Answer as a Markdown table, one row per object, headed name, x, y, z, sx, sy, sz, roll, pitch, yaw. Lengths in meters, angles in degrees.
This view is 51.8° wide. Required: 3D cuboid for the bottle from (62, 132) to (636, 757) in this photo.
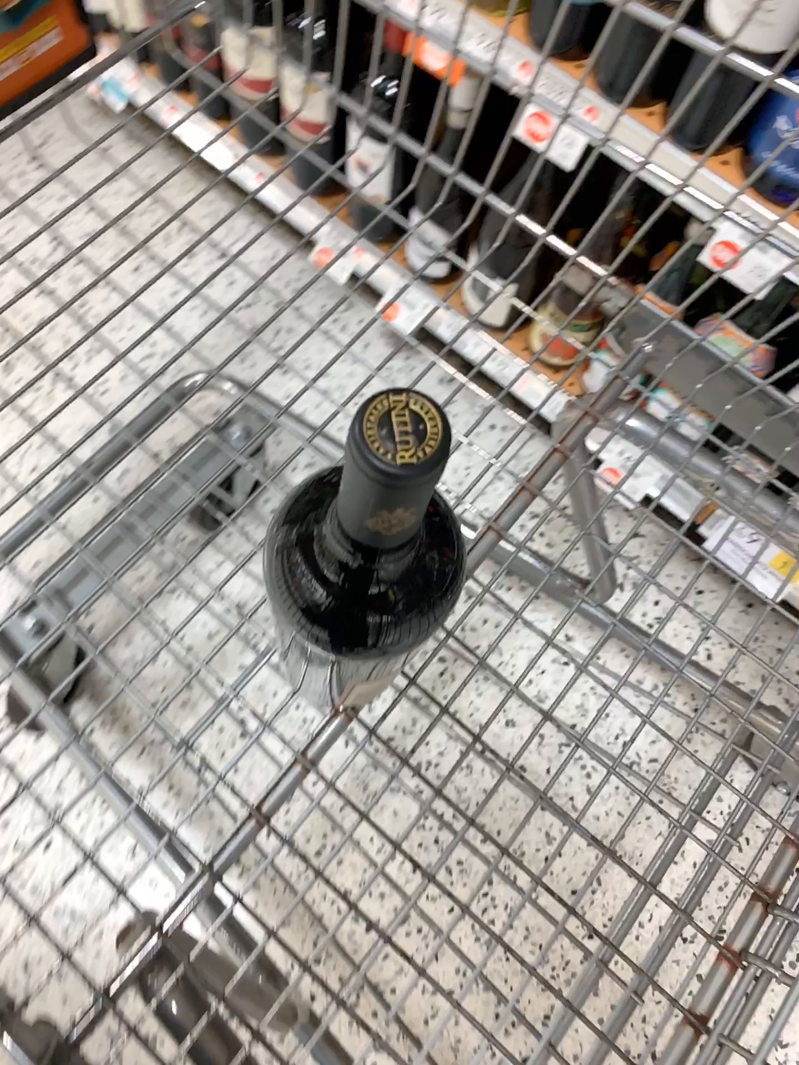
| name | x | y | z | sx | sy | sz | roll | pitch | yaw |
| --- | --- | --- | --- | --- | --- | --- | --- | --- | --- |
| bottle | -0.022 | 0.009 | 0.333 | 0.100 | 0.298 | 0.090 | 39 | 71 | 9 |
